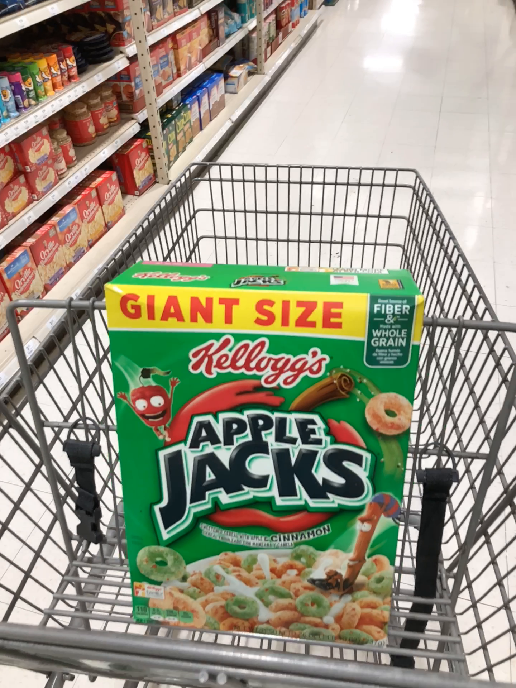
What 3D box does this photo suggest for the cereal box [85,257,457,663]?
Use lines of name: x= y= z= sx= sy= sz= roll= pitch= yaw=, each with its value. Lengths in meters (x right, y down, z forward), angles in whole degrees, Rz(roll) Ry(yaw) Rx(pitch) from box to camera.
cereal box: x=0.009 y=0.098 z=0.475 sx=0.250 sy=0.320 sz=0.090 roll=3 pitch=21 yaw=7
